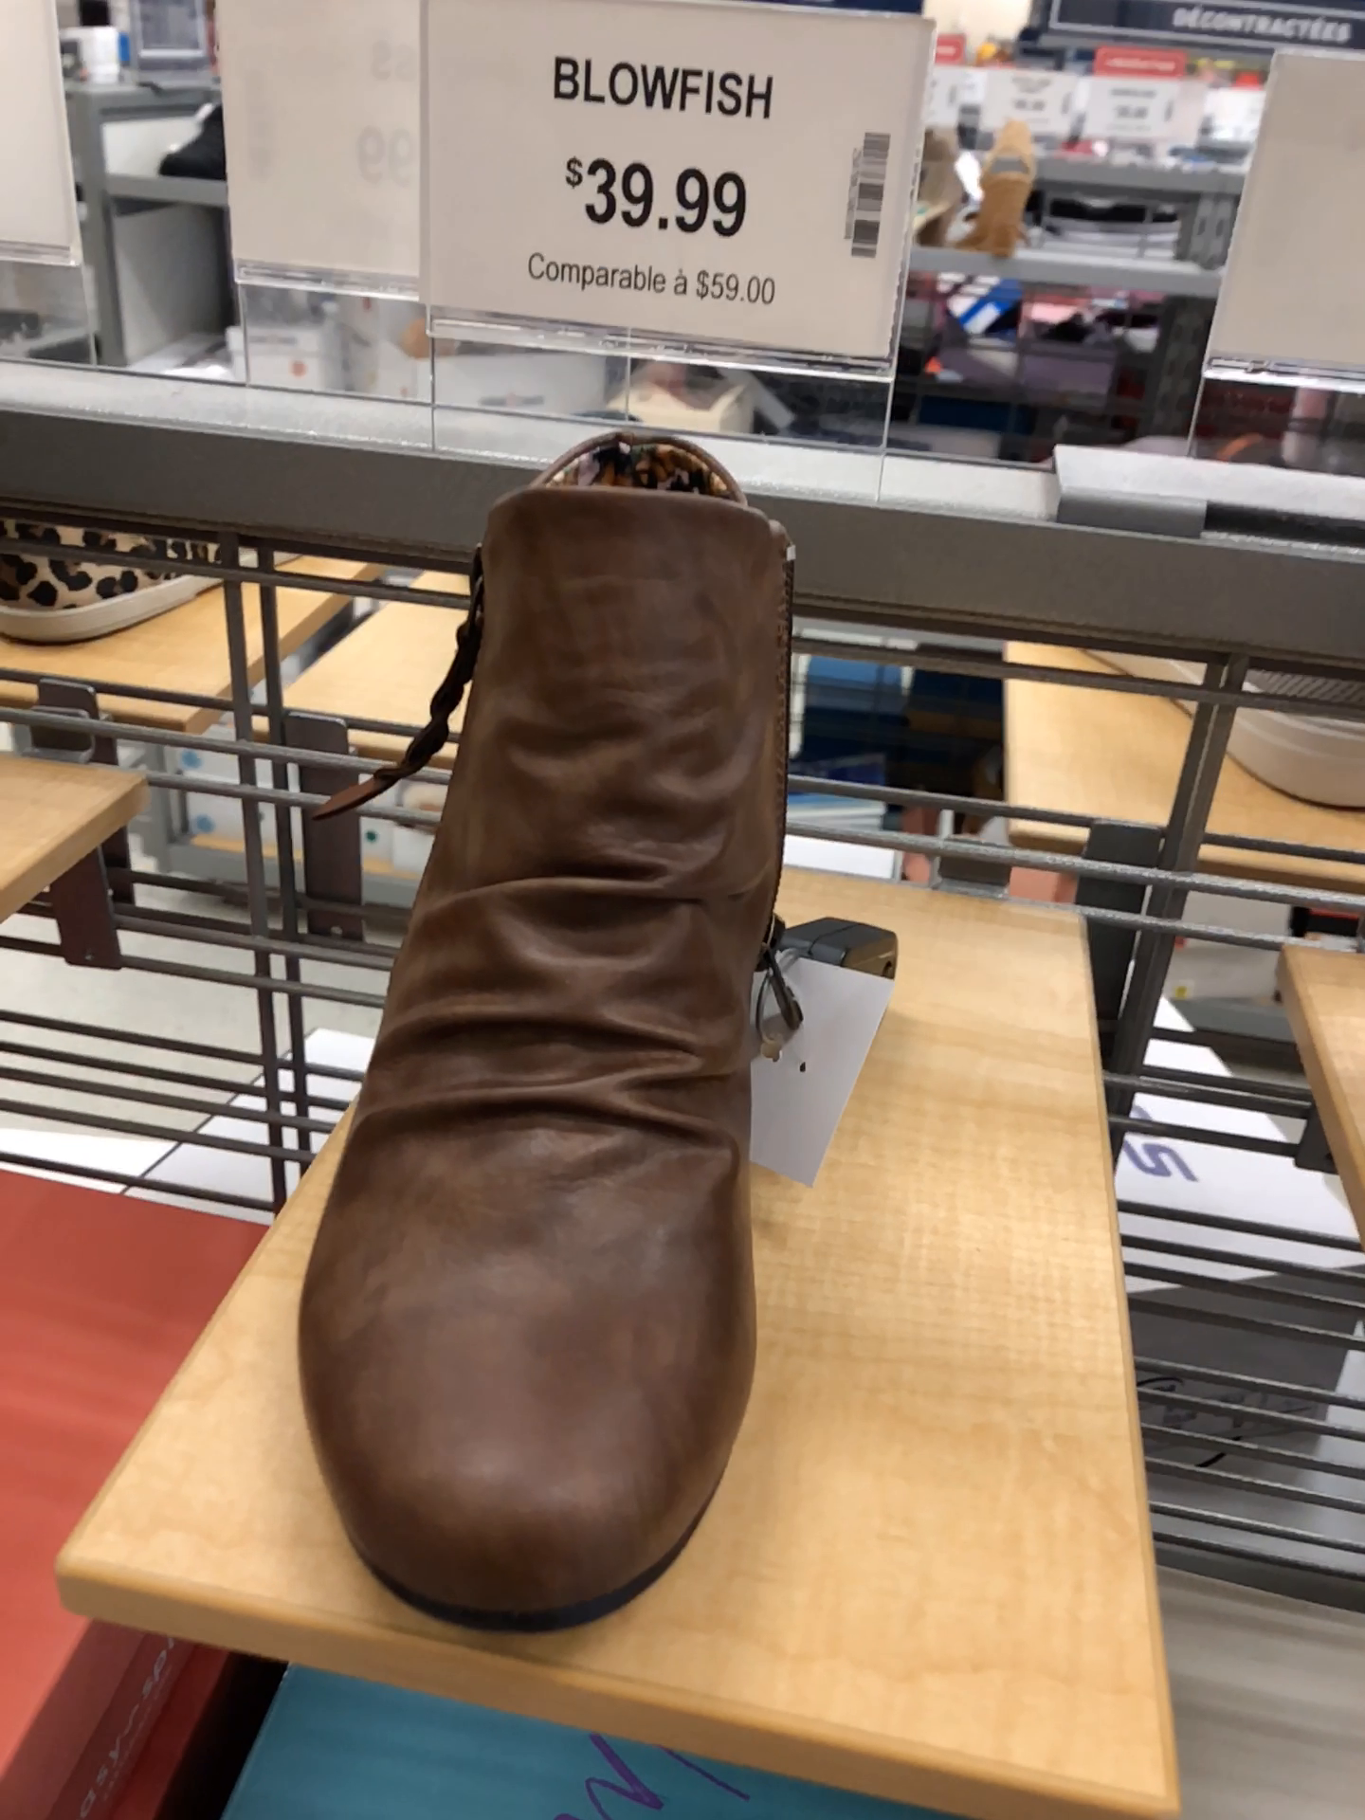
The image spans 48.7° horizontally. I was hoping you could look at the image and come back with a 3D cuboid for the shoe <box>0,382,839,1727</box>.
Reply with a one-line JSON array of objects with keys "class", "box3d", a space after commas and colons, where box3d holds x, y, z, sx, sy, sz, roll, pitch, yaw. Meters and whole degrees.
[{"class": "shoe", "box3d": [-0.024, -0.004, 0.287, 0.090, 0.139, 0.232, 6, 29, 2]}]
